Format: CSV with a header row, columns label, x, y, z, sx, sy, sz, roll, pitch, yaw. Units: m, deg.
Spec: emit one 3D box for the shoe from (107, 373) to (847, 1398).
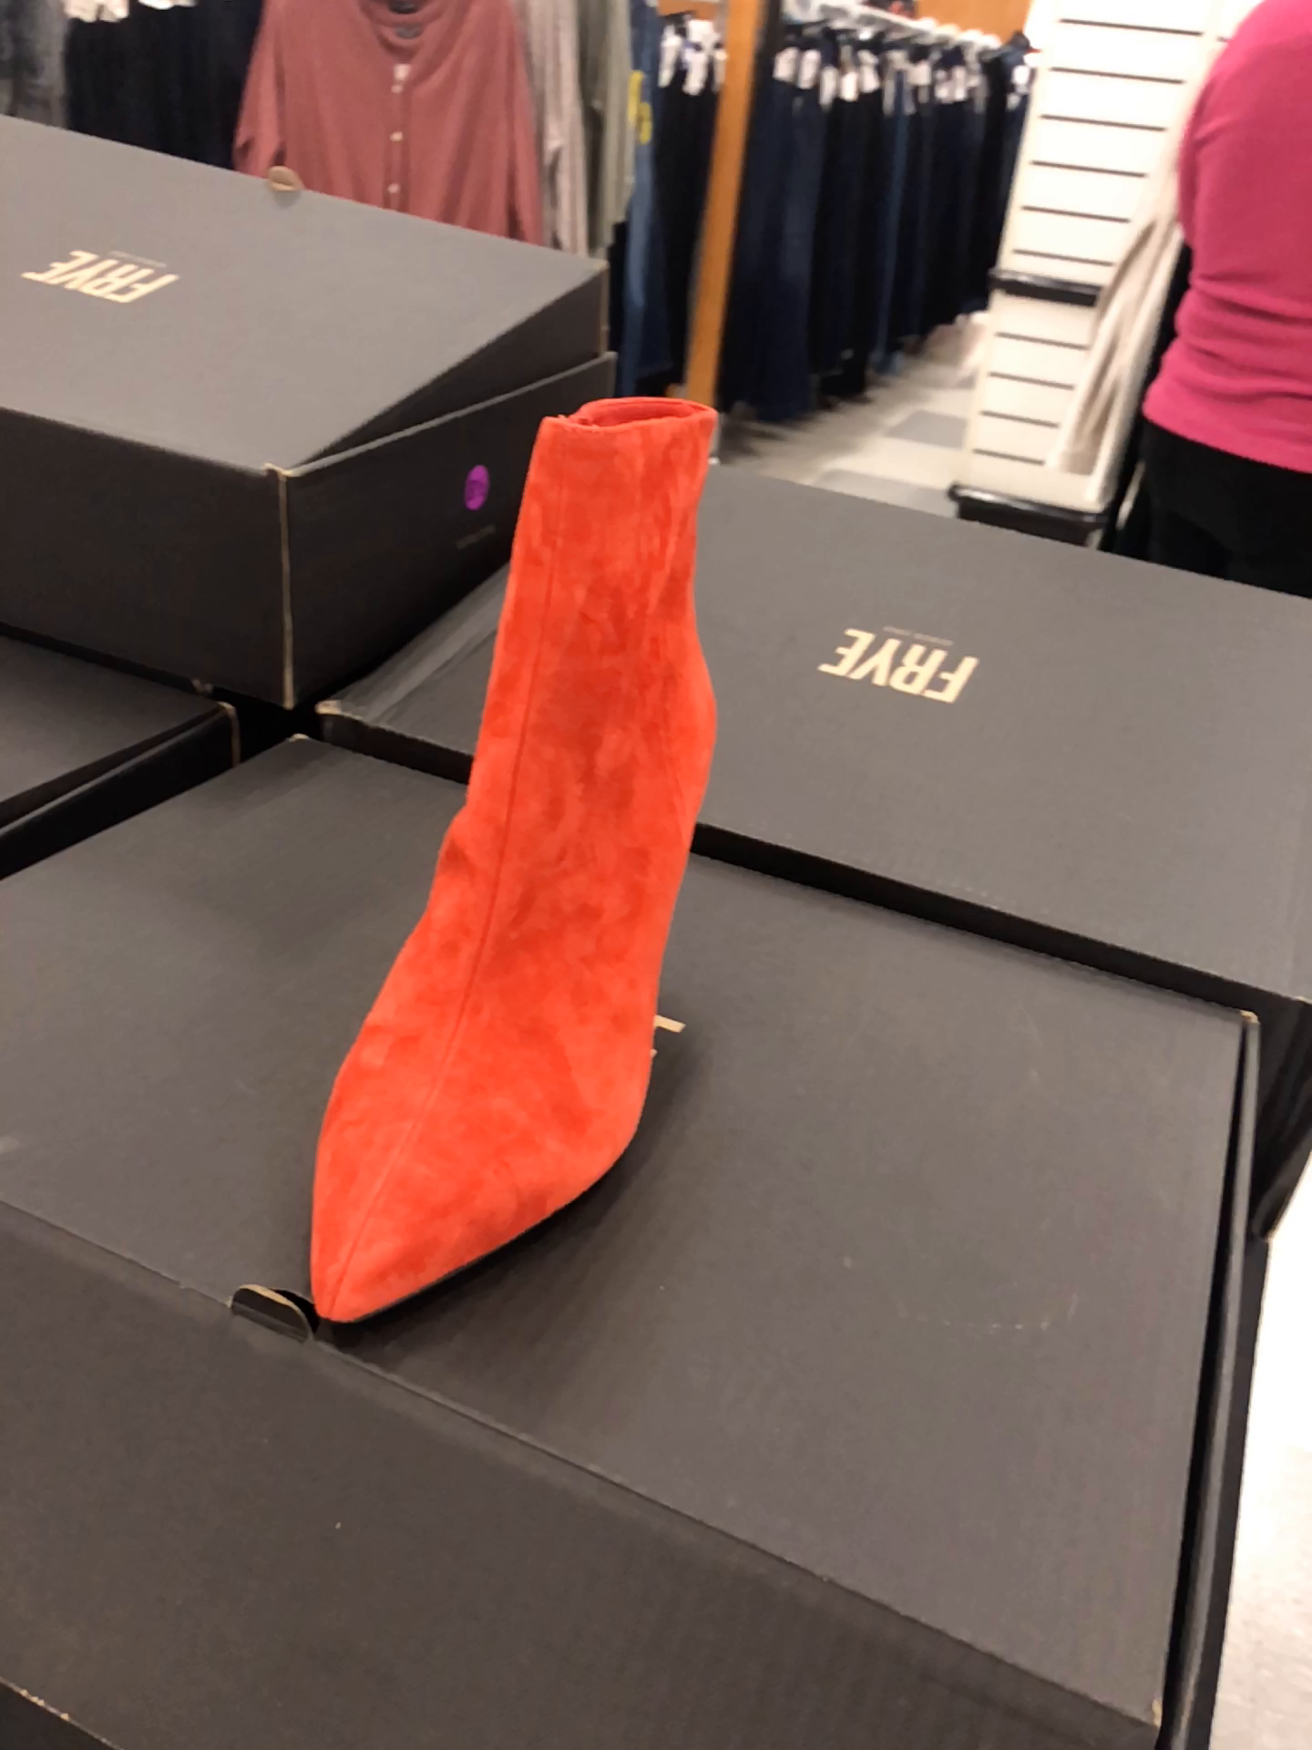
label,x,y,z,sx,sy,sz,roll,pitch,yaw
shoe,-0.036,-0.027,0.437,0.100,0.211,0.262,14,25,14
